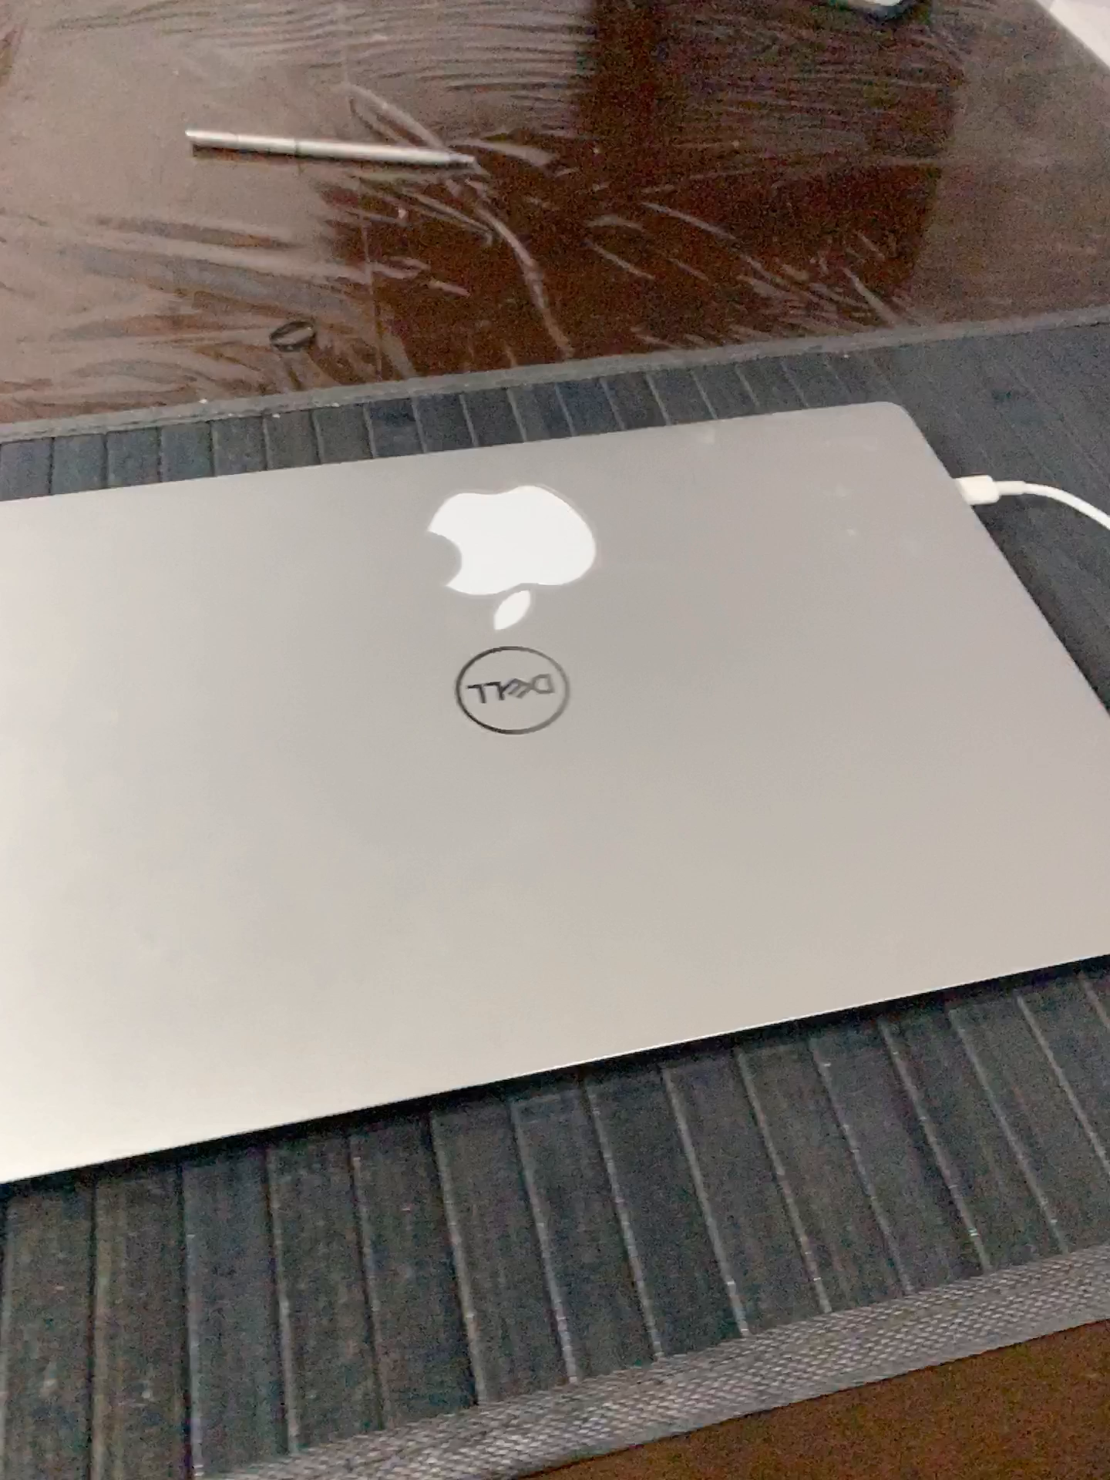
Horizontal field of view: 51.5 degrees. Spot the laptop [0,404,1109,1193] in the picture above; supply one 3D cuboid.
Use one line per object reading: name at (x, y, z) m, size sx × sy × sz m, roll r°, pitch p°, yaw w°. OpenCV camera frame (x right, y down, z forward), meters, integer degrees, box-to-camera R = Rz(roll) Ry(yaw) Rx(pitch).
laptop at (-0.002, -0.013, 0.283) m, size 0.271 × 0.001 × 0.189 m, roll -9°, pitch 52°, yaw -9°
